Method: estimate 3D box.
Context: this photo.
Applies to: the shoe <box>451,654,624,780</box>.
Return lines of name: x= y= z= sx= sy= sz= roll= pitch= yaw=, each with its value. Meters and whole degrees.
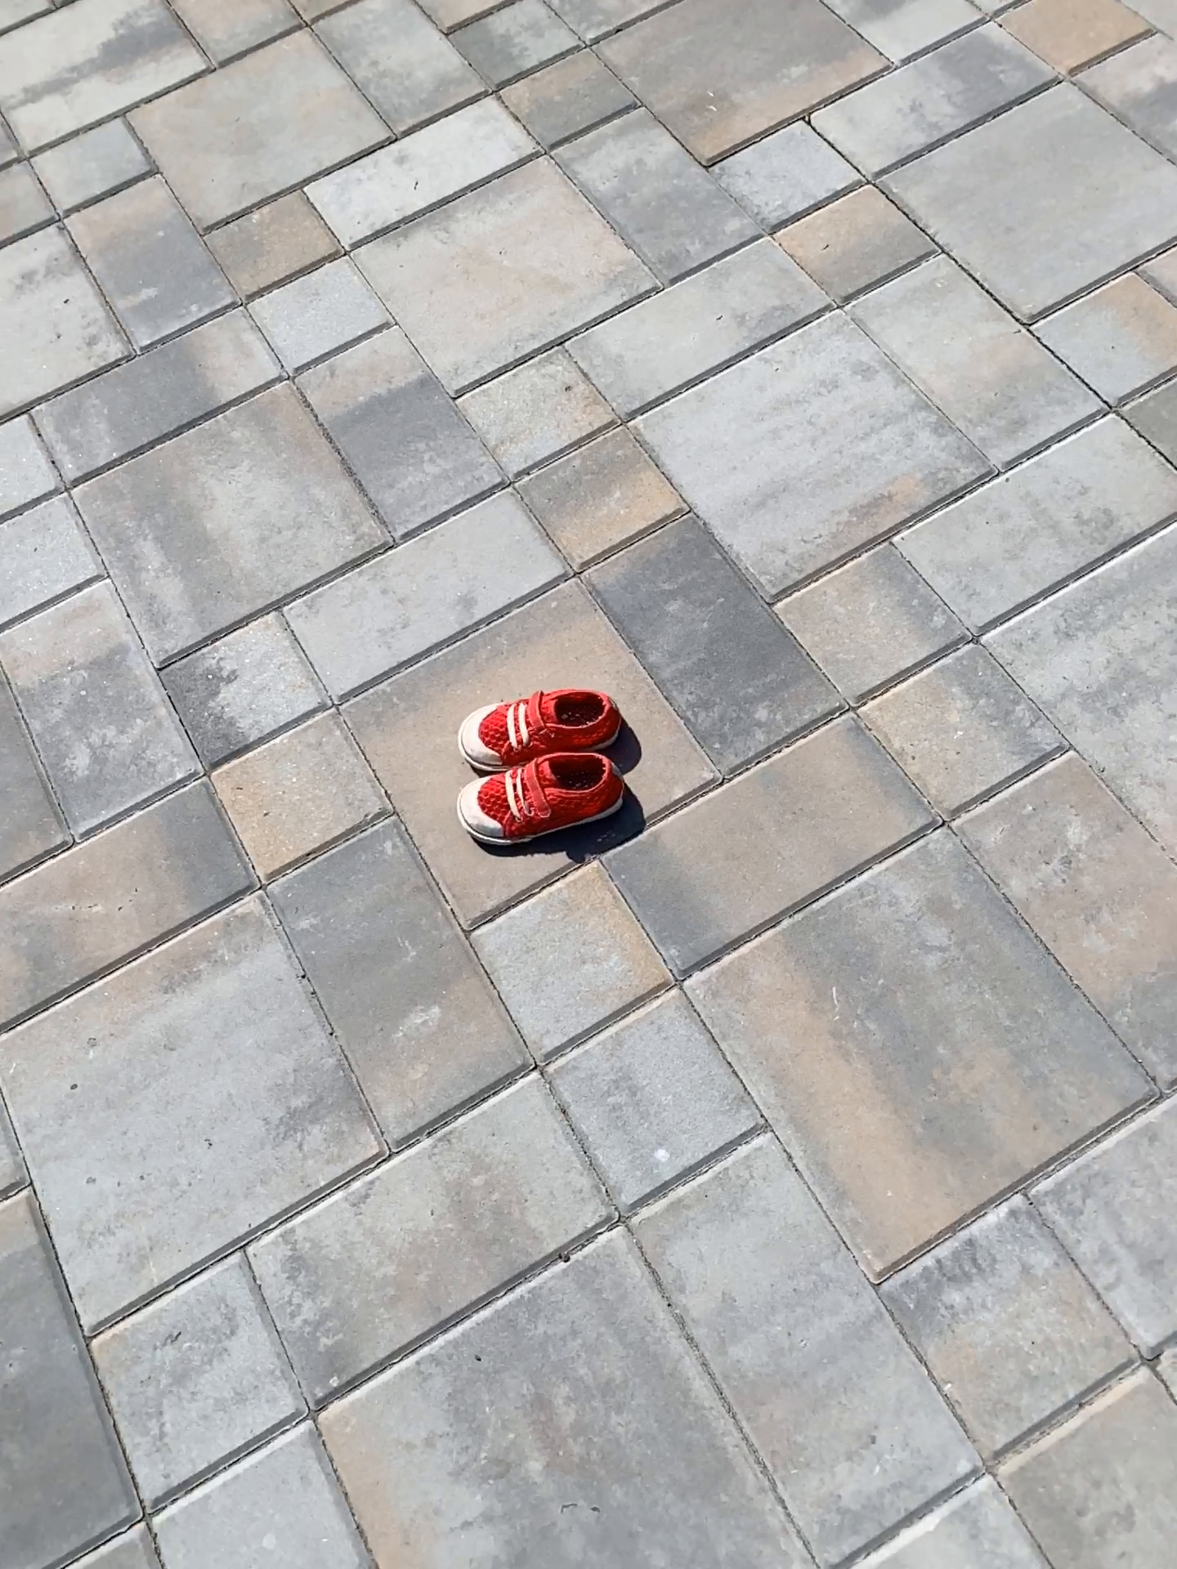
shoe: x=-0.050 y=-0.067 z=1.222 sx=0.160 sy=0.100 sz=0.070 roll=-7 pitch=65 yaw=3

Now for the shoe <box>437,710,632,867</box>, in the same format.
shoe: x=-0.052 y=0.006 z=1.204 sx=0.170 sy=0.100 sz=0.090 roll=-13 pitch=65 yaw=0
